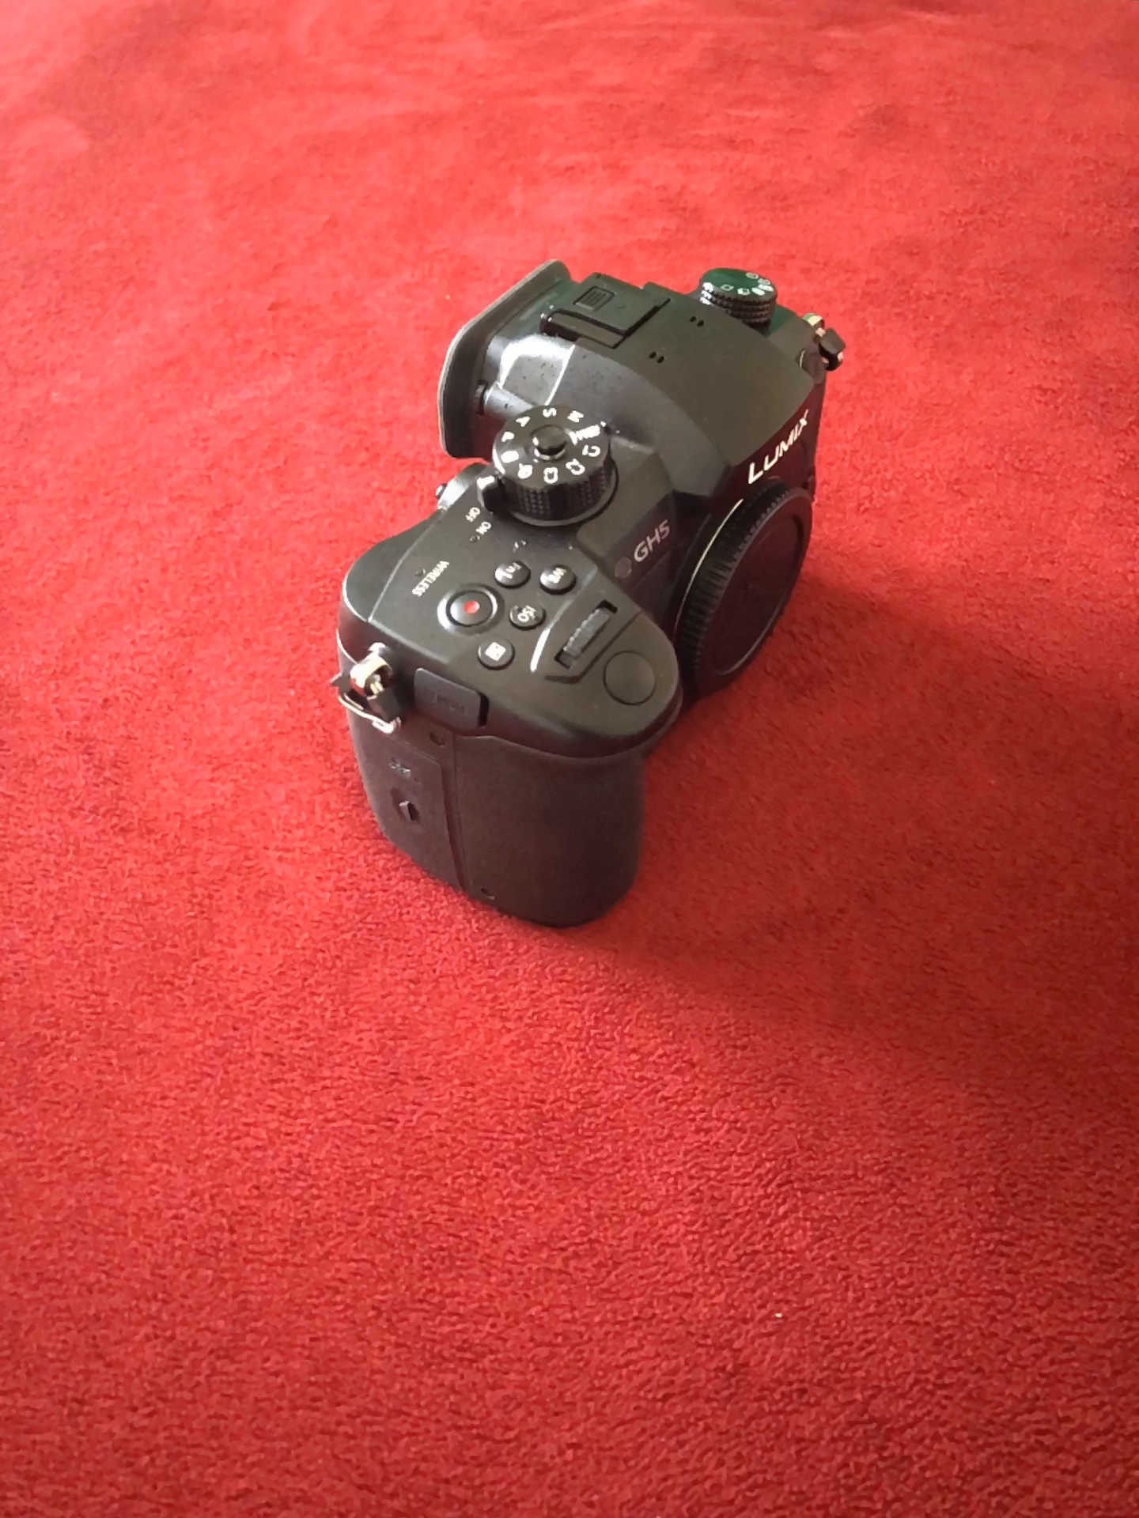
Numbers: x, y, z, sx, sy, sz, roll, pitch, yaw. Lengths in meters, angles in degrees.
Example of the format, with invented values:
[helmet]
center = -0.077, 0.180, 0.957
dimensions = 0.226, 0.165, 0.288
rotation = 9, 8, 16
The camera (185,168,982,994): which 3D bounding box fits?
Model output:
[camera]
center = 0.010, -0.045, 0.281
dimensions = 0.086, 0.087, 0.148
rotation = 29, 58, 21
